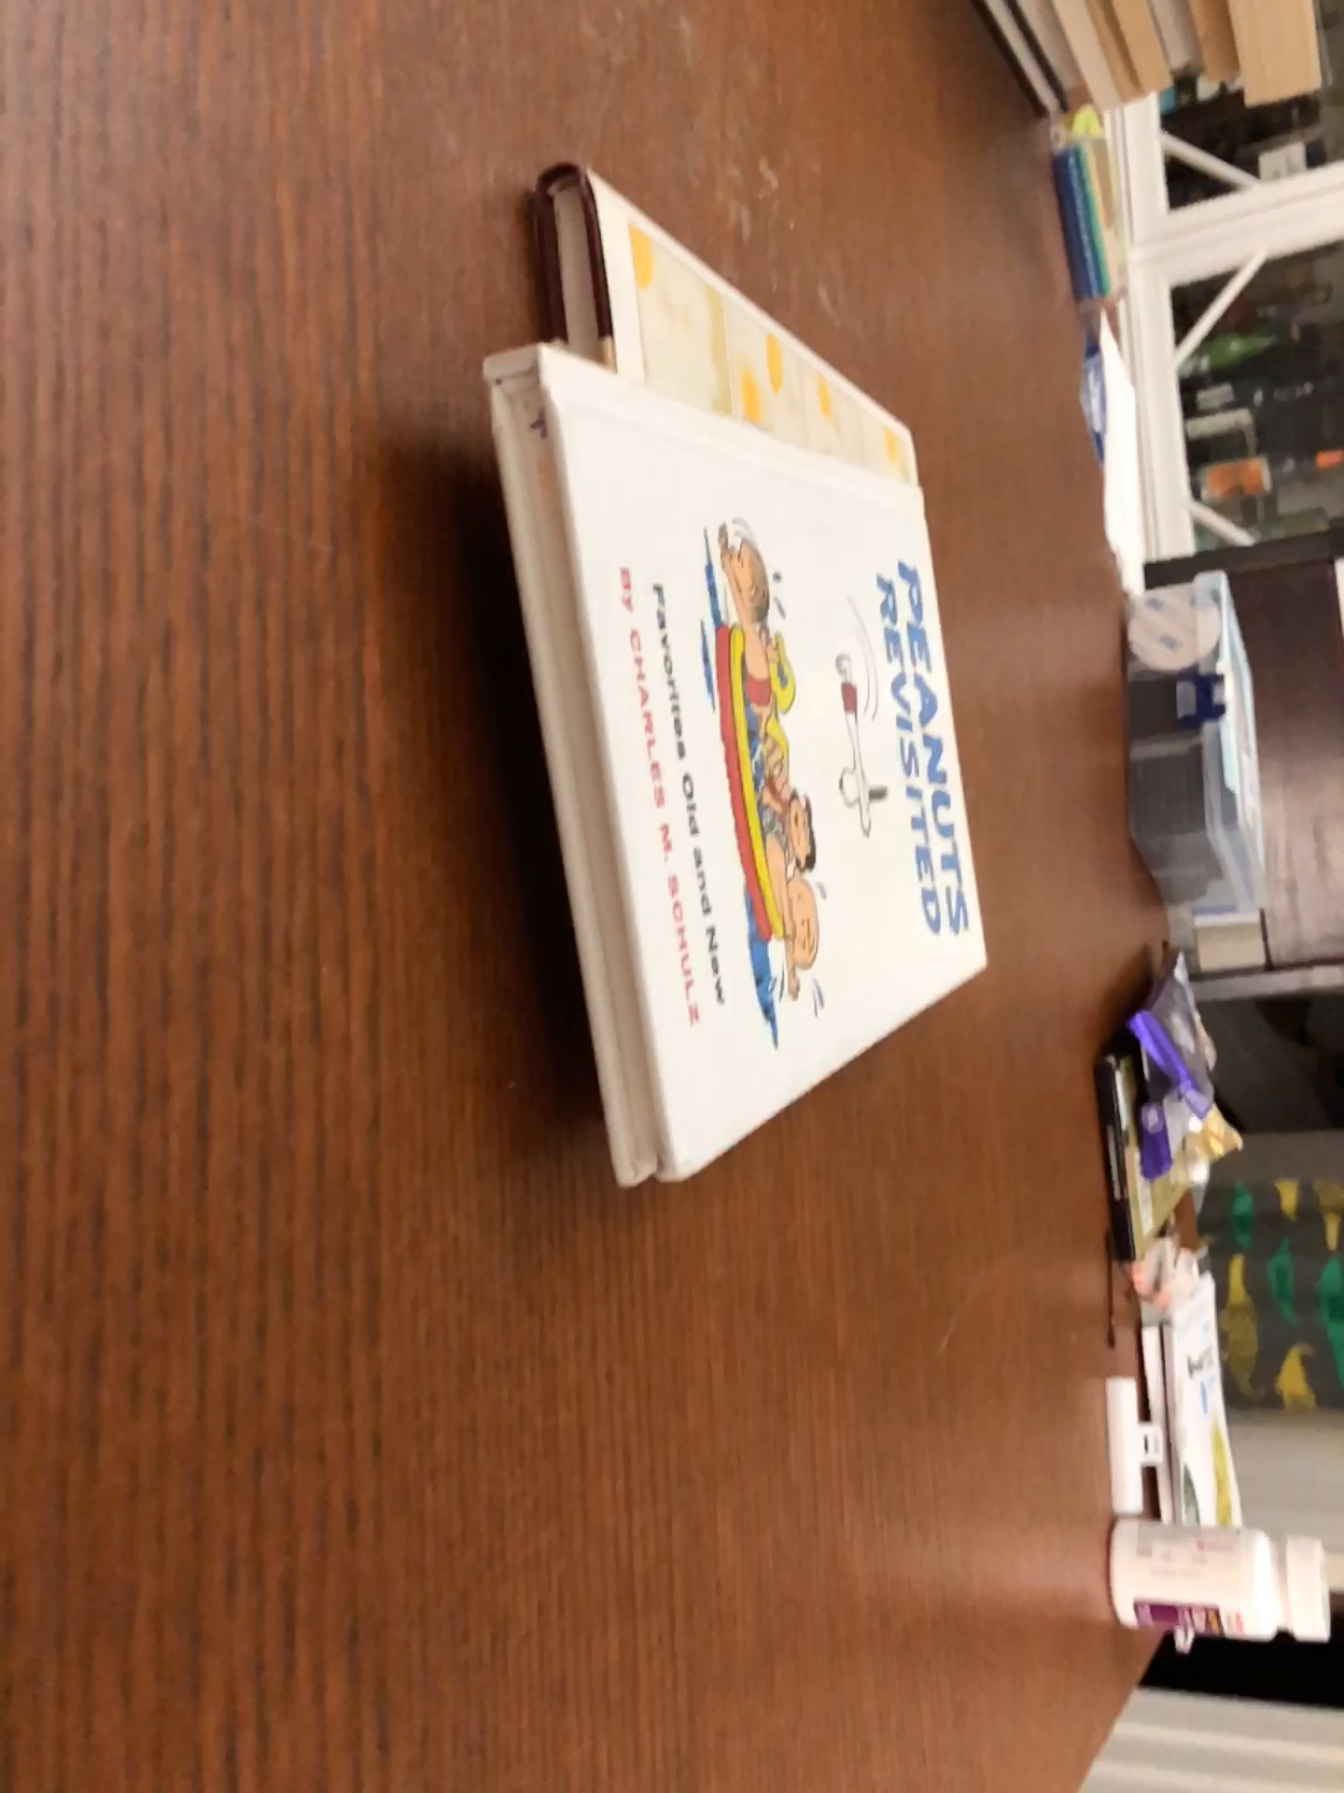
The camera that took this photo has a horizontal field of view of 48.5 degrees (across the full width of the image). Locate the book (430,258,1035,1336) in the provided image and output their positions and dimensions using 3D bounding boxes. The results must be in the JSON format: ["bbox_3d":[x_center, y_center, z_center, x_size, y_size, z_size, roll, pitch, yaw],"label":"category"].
[{"bbox_3d":[0.032,-0.028,0.317,0.211,0.020,0.160,-21,102,-62],"label":"book"}]
